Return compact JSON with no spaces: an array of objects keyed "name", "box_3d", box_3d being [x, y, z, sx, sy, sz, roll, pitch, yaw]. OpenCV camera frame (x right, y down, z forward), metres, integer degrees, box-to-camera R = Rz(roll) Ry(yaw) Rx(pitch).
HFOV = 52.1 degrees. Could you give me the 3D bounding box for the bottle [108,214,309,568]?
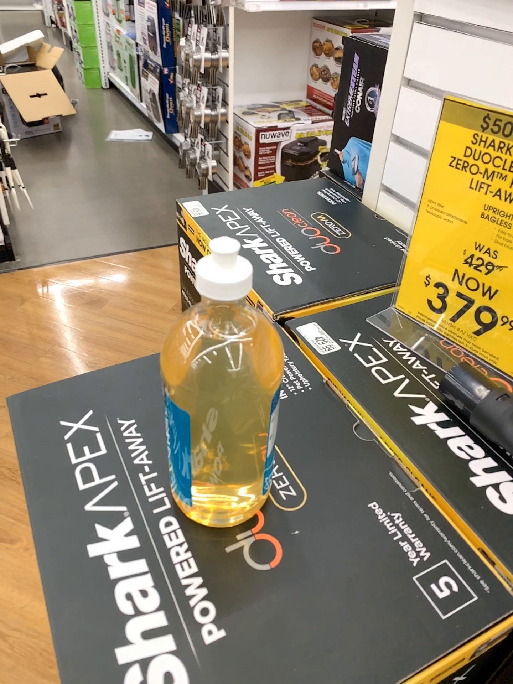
[{"name":"bottle","box_3d":[-0.035,0.038,0.333,0.090,0.209,0.090,2,38,-2]}]
